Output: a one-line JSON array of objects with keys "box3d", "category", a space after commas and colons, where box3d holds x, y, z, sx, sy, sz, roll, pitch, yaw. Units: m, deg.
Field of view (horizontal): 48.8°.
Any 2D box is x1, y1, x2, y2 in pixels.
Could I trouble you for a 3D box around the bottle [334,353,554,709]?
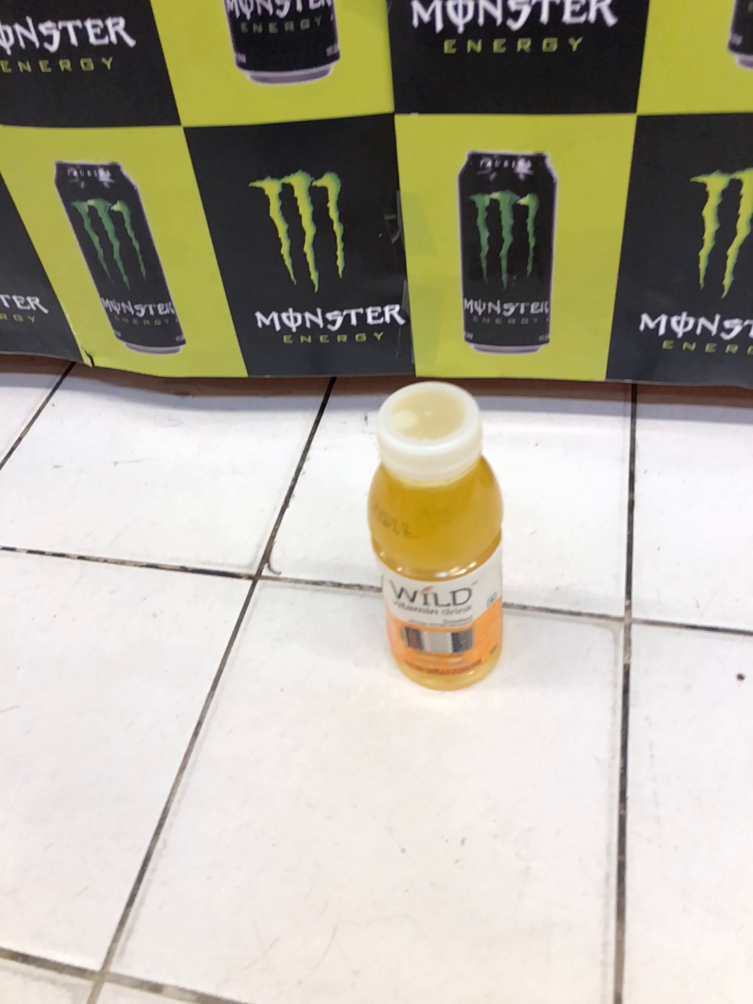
[{"box3d": [0.034, 0.017, 0.345, 0.070, 0.139, 0.070, -4, 47, 5], "category": "bottle"}]
